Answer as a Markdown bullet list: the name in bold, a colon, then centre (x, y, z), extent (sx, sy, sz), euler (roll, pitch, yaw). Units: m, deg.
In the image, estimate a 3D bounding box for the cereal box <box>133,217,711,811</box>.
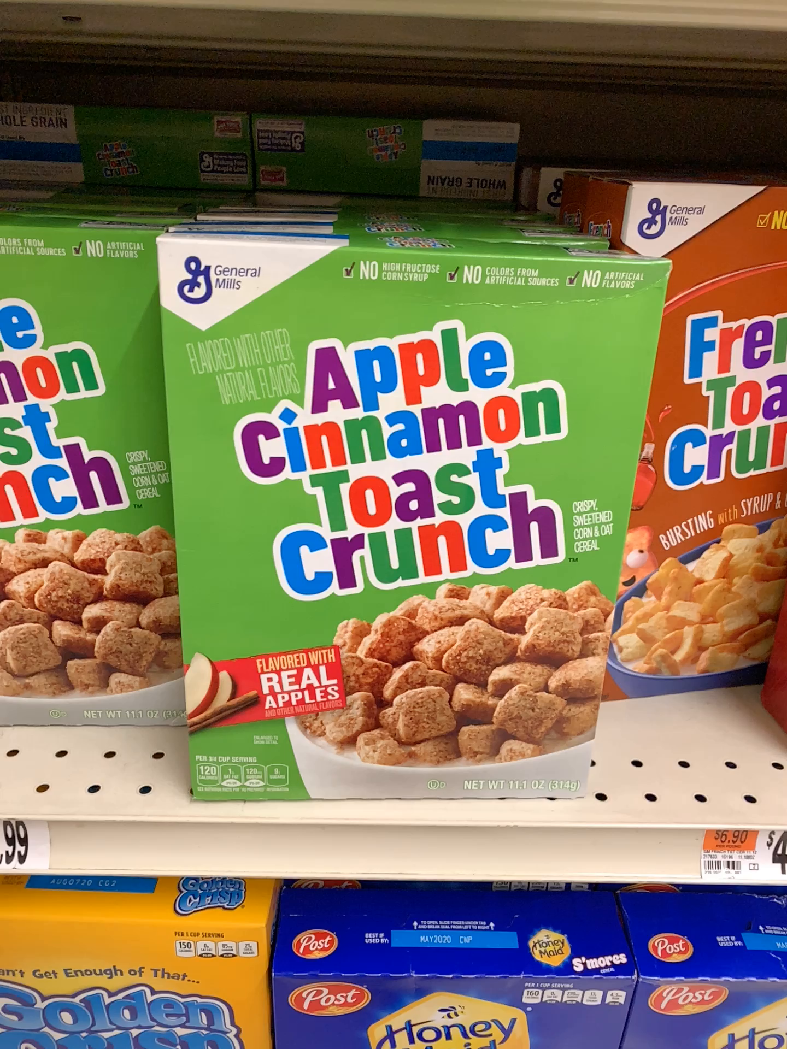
- **cereal box**: centre (0.004, 0.009, 0.375), extent (0.210, 0.269, 0.060), euler (1, 25, -5)
